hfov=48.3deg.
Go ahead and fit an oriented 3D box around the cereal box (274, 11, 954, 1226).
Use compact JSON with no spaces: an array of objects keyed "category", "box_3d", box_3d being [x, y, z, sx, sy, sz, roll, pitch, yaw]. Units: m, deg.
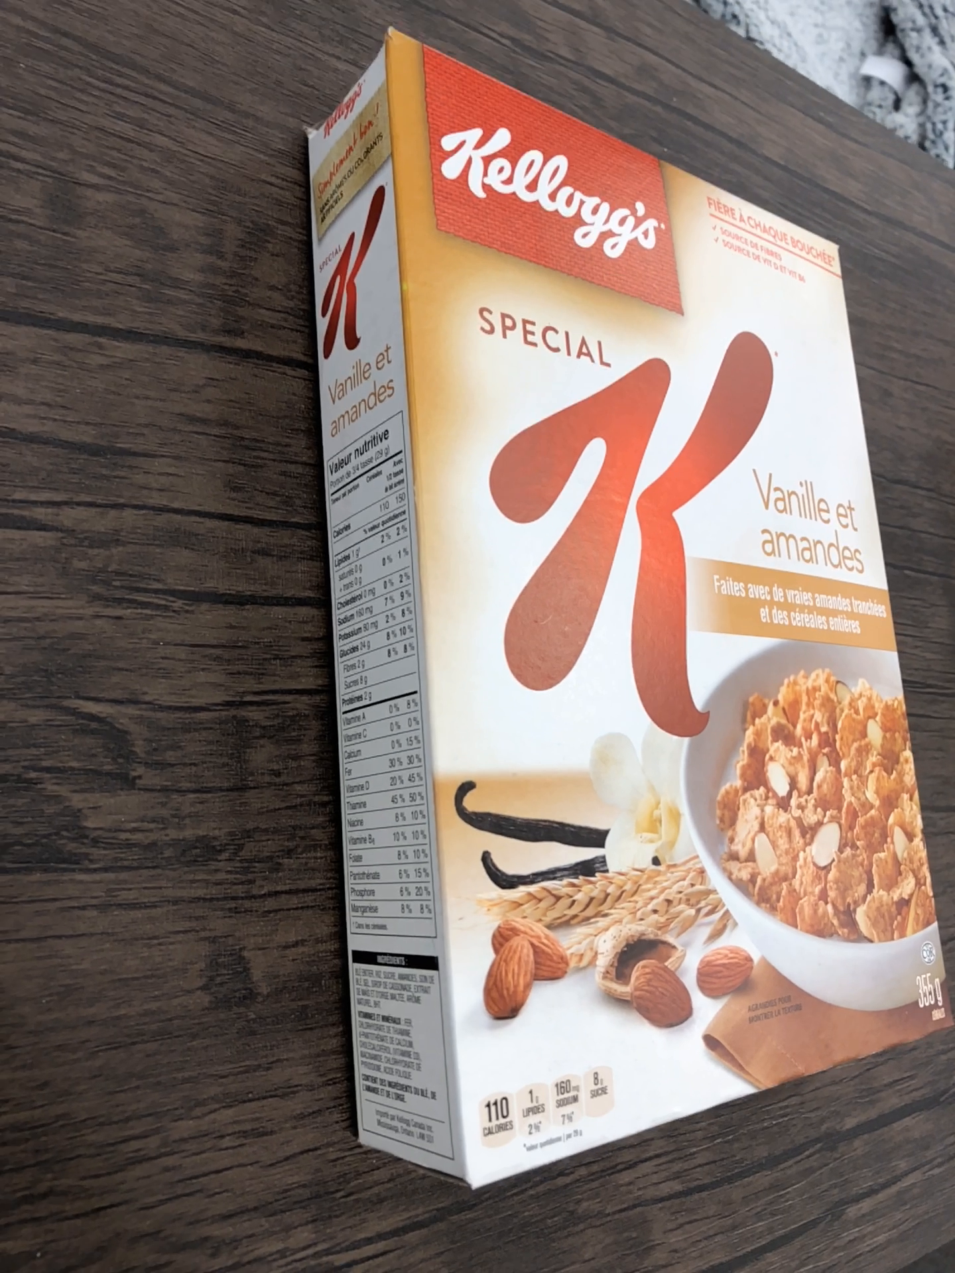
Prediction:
[{"category":"cereal box","box_3d":[0.047,-0.006,0.317,0.201,0.060,0.270,4,78,-38]}]
